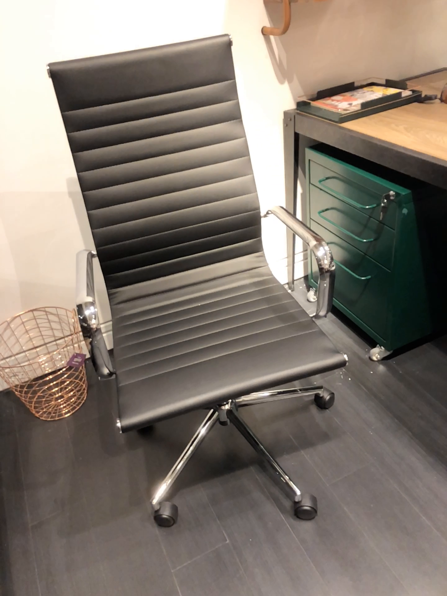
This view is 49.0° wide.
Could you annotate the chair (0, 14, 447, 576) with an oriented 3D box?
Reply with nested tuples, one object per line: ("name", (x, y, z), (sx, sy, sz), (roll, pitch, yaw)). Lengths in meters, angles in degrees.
("chair", (-0.006, -0.025, 1.206), (0.680, 1.052, 0.665), (-15, 35, -10))
